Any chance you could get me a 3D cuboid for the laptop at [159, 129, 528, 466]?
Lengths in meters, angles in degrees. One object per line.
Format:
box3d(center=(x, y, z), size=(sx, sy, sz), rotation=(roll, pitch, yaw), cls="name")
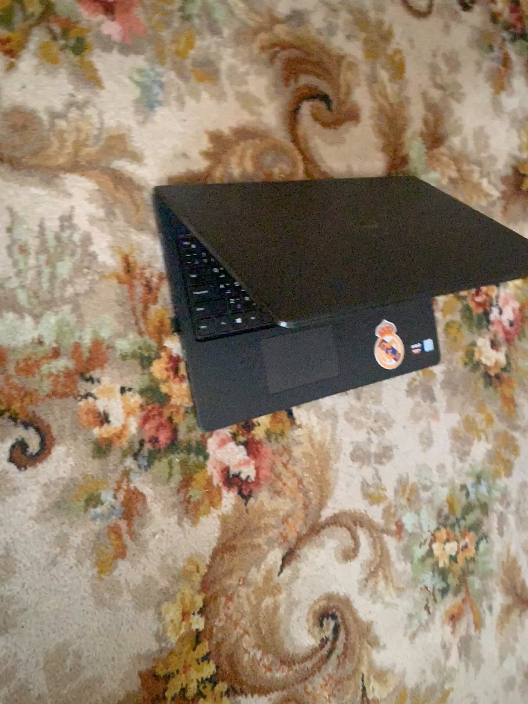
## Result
box3d(center=(0.120, -0.073, 0.575), size=(0.368, 0.193, 0.251), rotation=(-14, 95, -31), cls="laptop")
